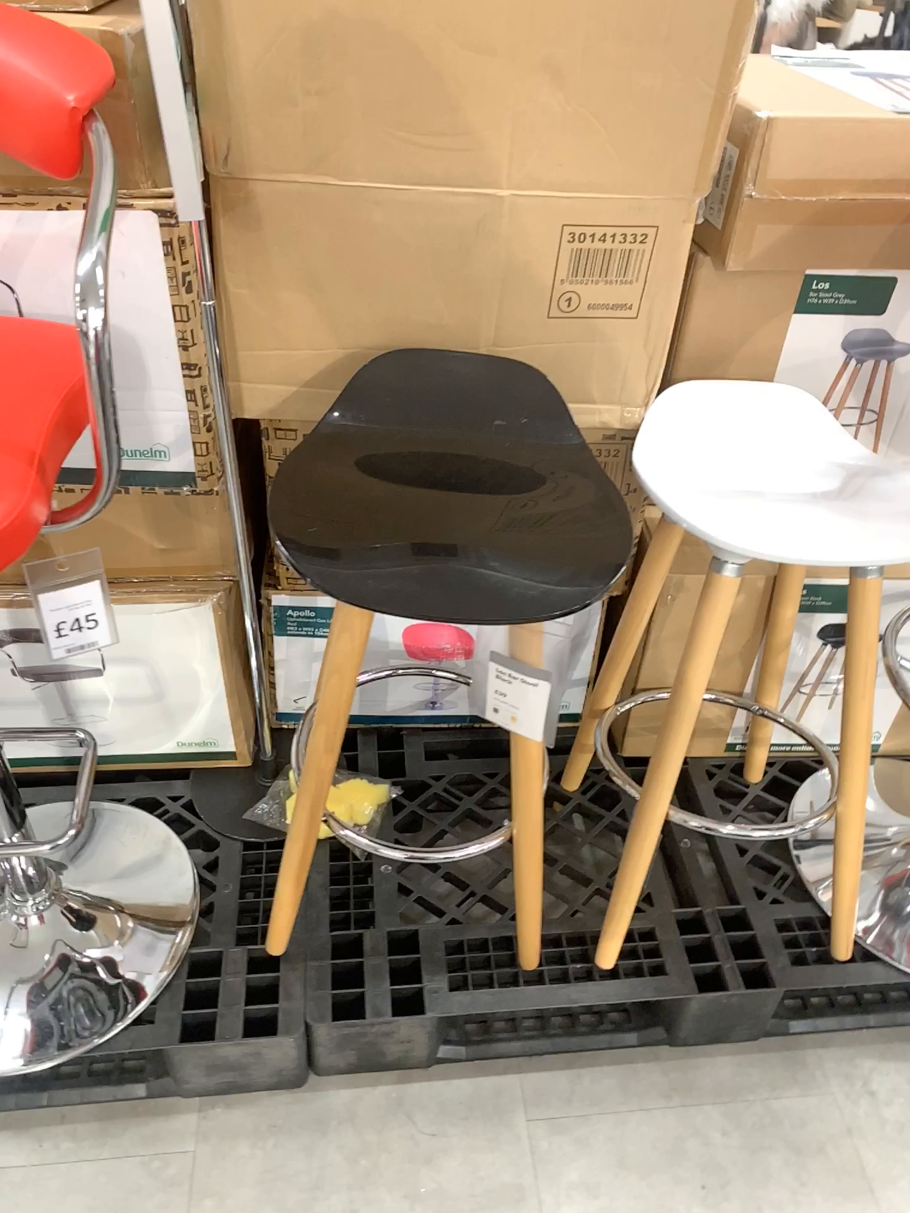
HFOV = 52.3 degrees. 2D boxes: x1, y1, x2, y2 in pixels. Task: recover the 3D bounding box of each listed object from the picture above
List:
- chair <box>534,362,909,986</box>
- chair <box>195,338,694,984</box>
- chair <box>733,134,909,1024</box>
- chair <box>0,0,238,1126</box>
[{"bbox_3d":[0.380,0.090,1.240,0.409,0.663,0.484,-1,38,-6],"label":"chair"},{"bbox_3d":[-0.022,0.082,1.170,0.428,0.673,0.434,3,38,-1],"label":"chair"},{"bbox_3d":[0.788,0.010,1.146,0.509,0.980,0.454,-4,38,-10],"label":"chair"},{"bbox_3d":[-0.549,0.015,0.940,0.549,1.029,0.454,-4,38,-10],"label":"chair"}]
